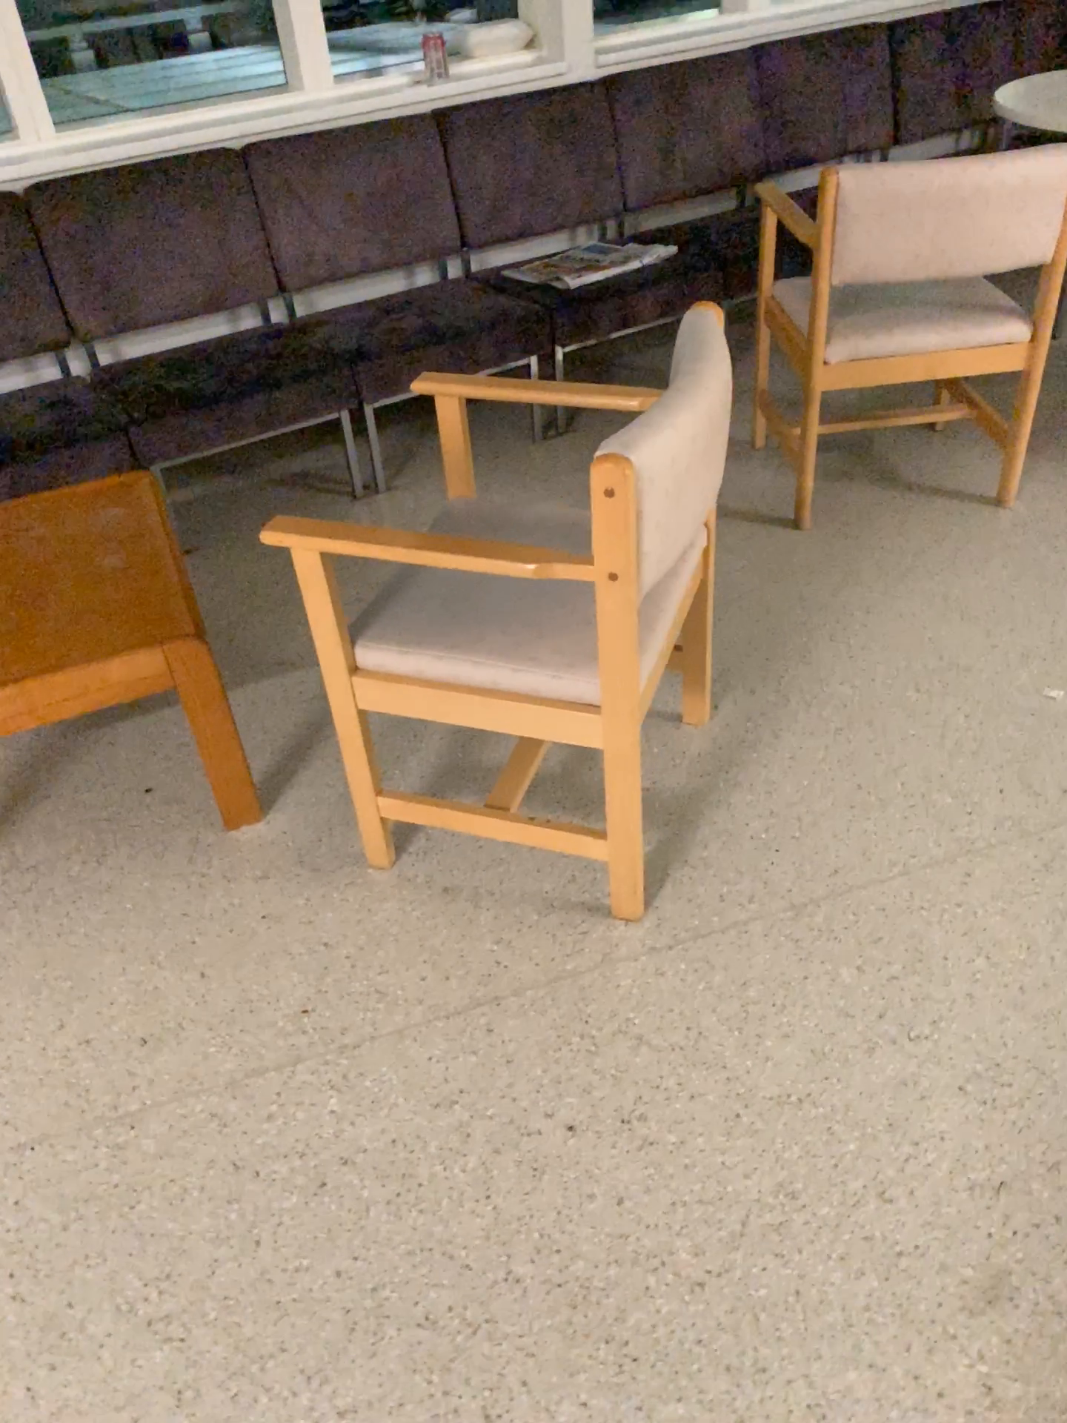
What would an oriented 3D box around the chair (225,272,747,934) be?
[{"bbox_3d":[-0.002,-0.170,1.587,0.511,0.752,0.515,8,40,17],"label":"chair"}]
